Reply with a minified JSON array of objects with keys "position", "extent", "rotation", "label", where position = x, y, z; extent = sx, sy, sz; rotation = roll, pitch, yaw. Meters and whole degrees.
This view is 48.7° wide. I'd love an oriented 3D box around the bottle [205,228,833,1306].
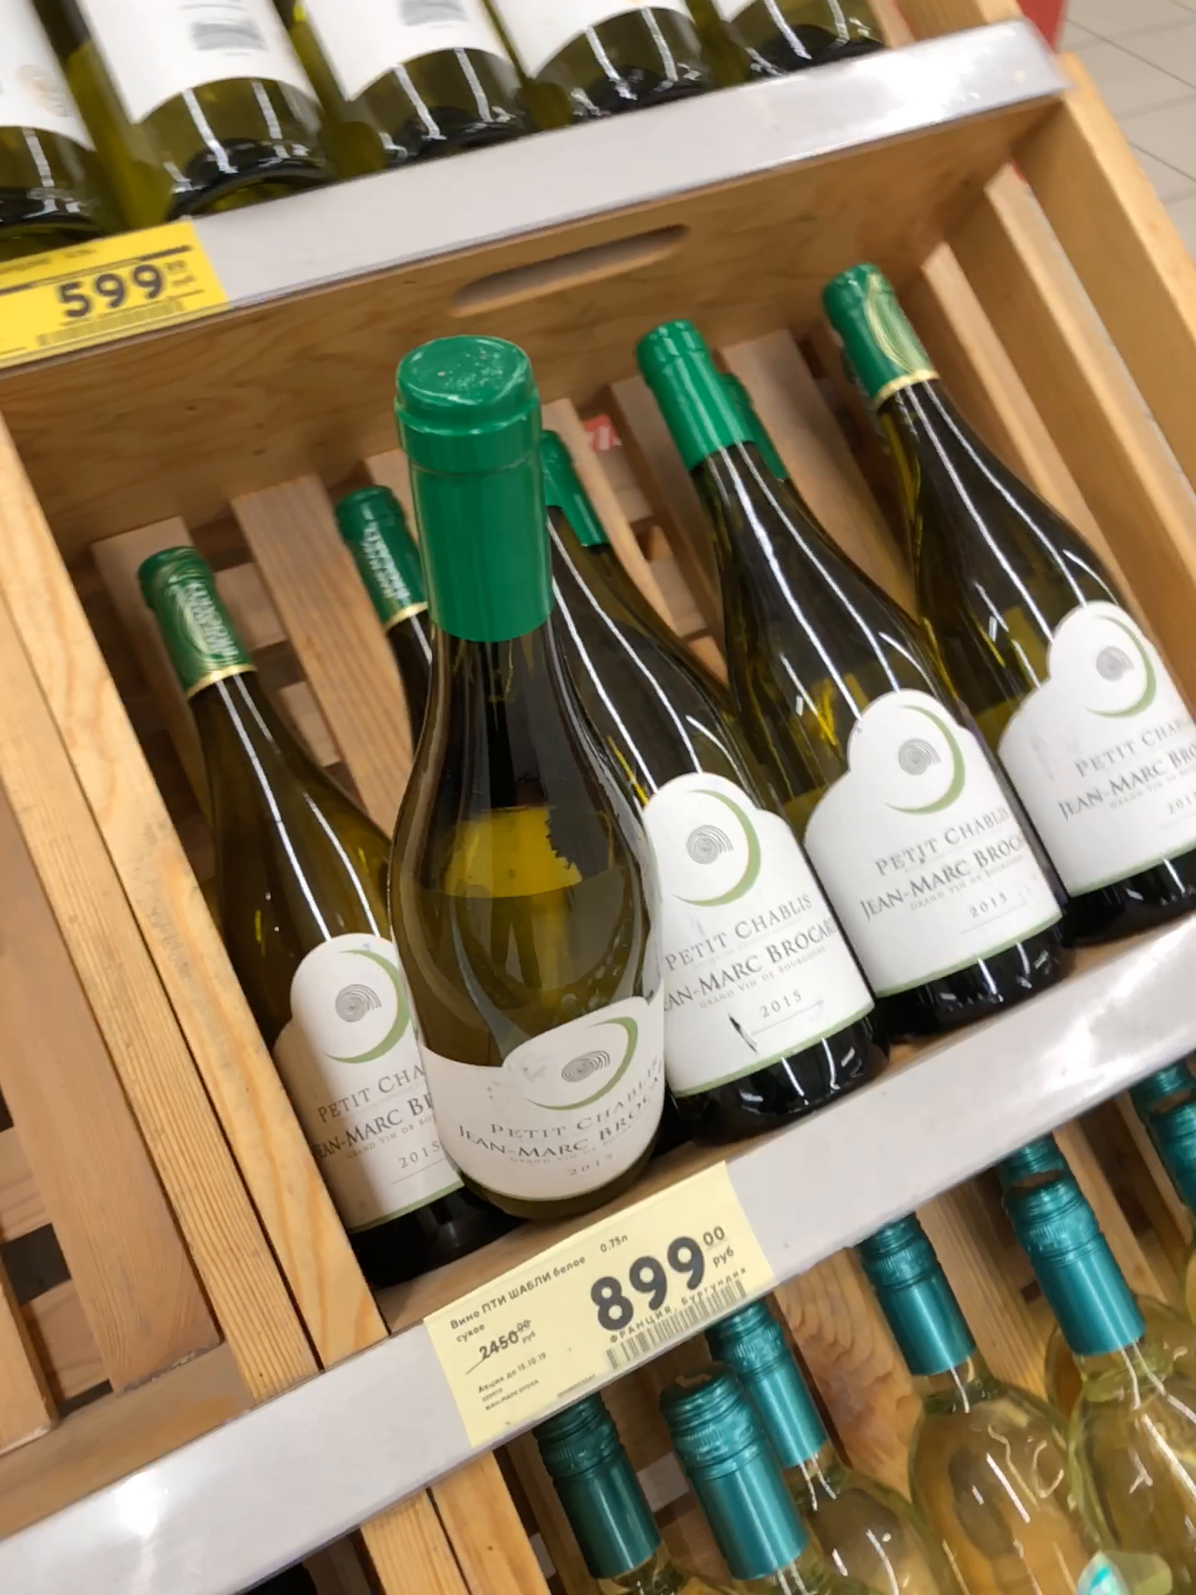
[{"position":[-0.017,0.019,0.351],"extent":[0.090,0.289,0.090],"rotation":[-1,47,1],"label":"bottle"}]
